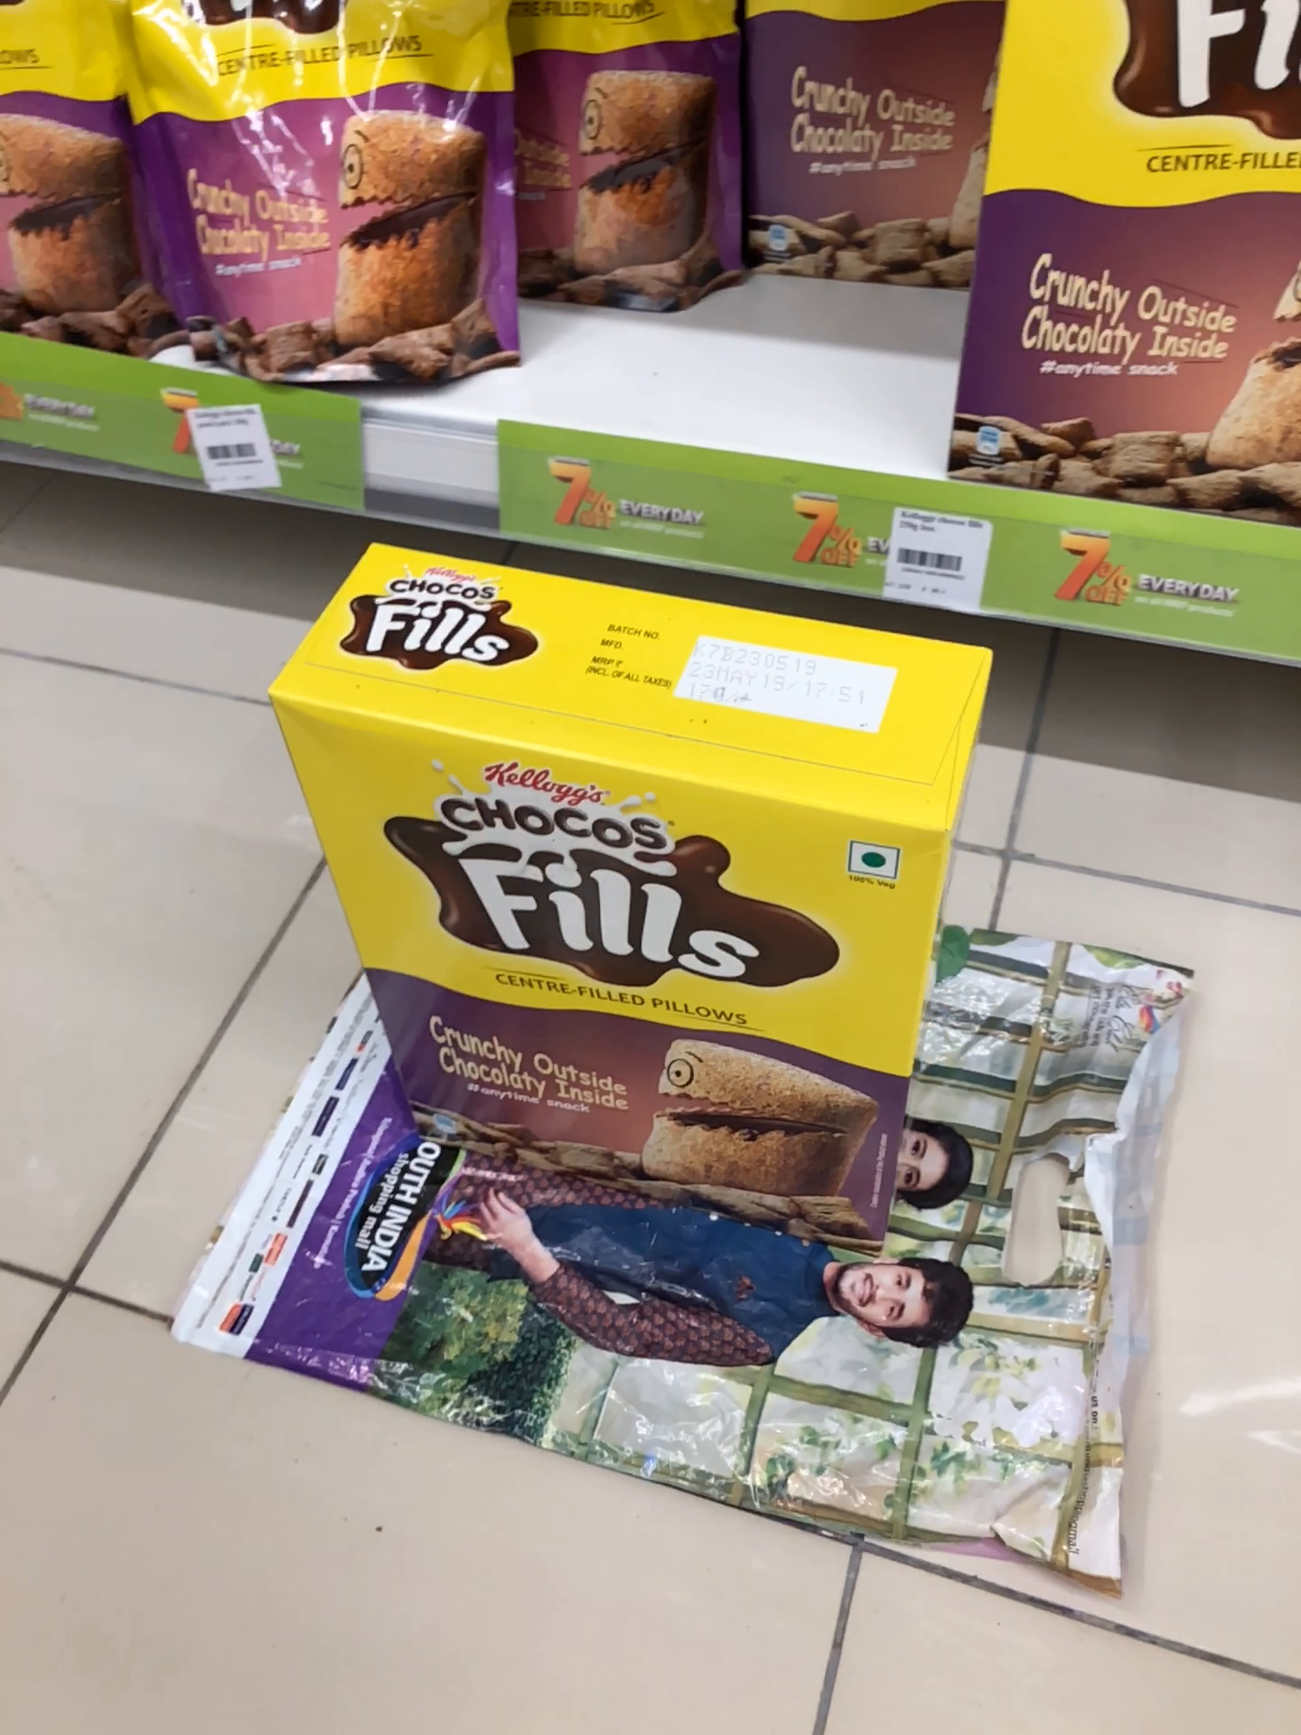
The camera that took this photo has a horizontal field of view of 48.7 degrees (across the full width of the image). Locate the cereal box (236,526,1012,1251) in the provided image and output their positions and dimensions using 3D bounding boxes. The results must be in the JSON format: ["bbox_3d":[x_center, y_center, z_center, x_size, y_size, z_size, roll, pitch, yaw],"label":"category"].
[{"bbox_3d":[0.000,0.018,0.461,0.190,0.229,0.070,11,52,13],"label":"cereal box"}]
